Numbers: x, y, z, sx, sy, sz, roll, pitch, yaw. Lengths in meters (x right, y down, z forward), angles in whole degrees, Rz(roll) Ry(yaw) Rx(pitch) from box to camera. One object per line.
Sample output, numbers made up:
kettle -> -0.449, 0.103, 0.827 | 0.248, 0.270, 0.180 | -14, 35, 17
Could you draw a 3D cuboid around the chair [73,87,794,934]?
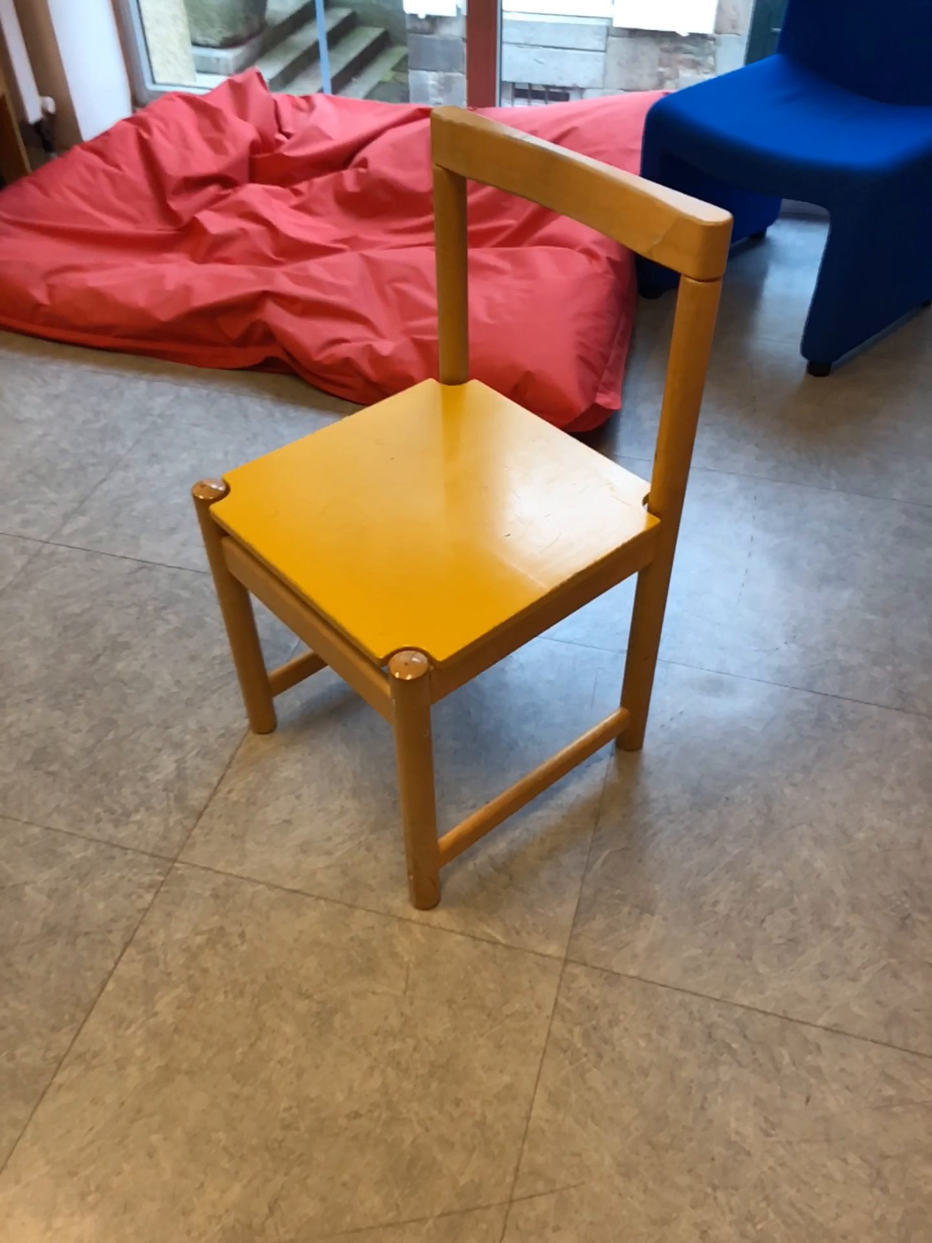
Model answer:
chair -> -0.034, -0.115, 1.099 | 0.422, 0.666, 0.451 | -32, 53, -28
